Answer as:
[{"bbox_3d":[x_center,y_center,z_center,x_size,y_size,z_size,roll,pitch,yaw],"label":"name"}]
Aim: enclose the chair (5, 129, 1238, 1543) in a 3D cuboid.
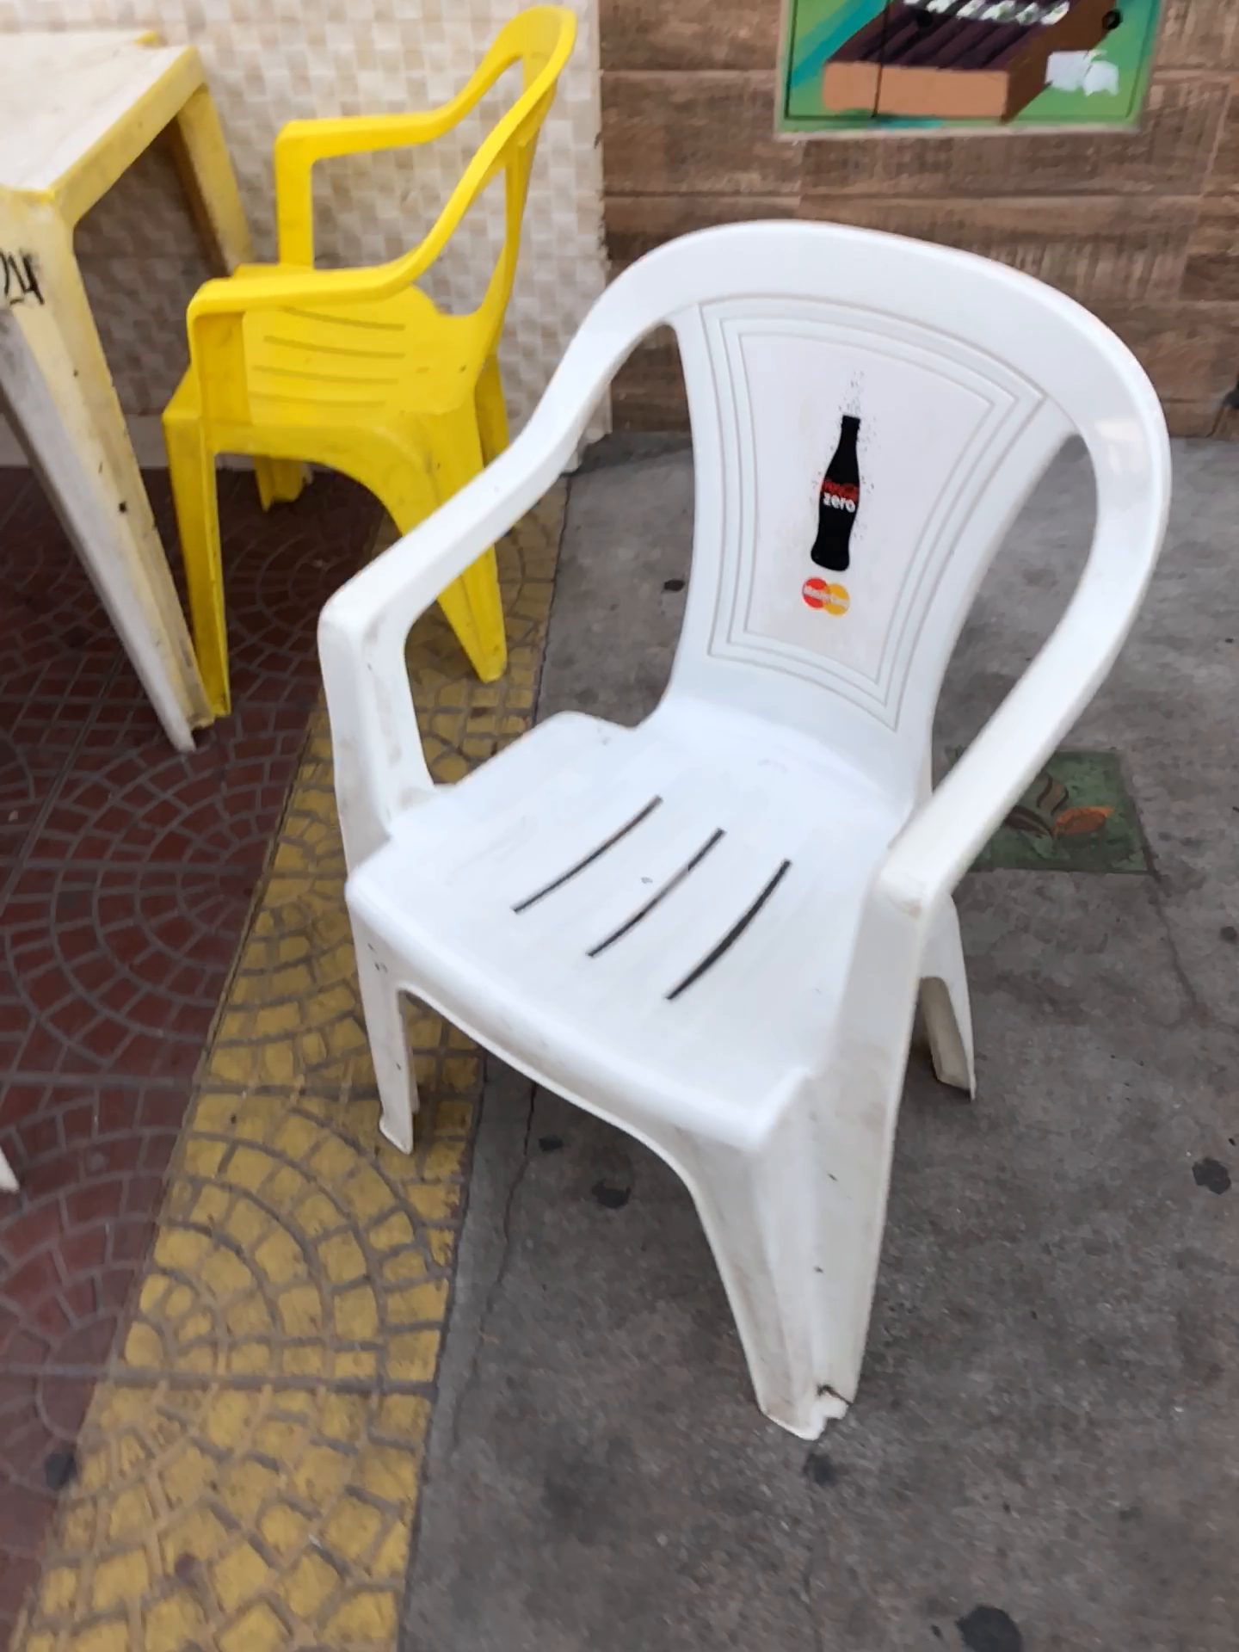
[{"bbox_3d":[0.070,-0.008,1.070,0.642,0.745,0.553,28,53,27],"label":"chair"}]
